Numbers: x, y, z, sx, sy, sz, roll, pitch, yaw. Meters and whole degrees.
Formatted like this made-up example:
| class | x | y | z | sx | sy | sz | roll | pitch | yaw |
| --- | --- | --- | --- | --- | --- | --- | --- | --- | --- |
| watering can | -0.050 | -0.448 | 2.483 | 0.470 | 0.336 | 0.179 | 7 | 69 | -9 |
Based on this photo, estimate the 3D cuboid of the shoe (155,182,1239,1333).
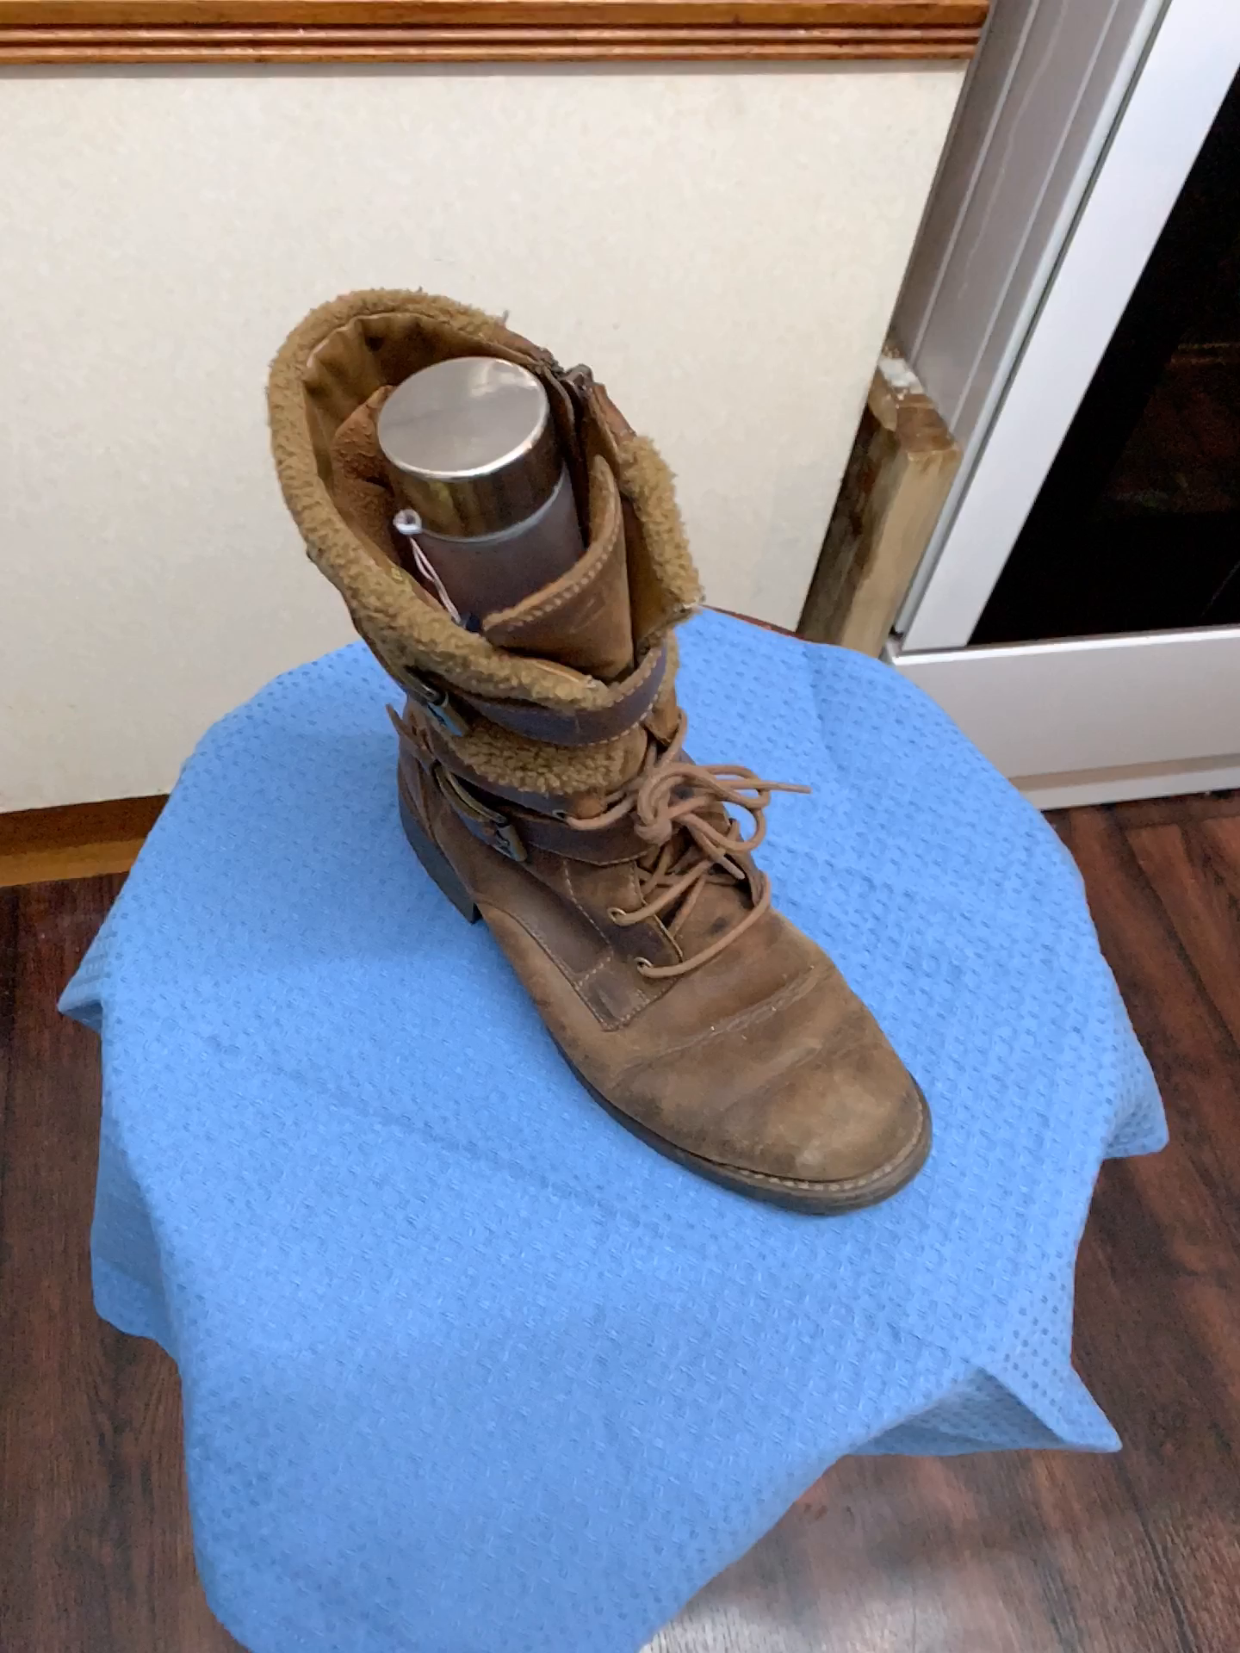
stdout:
| class | x | y | z | sx | sy | sz | roll | pitch | yaw |
| --- | --- | --- | --- | --- | --- | --- | --- | --- | --- |
| shoe | 0.010 | -0.007 | 0.387 | 0.120 | 0.228 | 0.251 | -36 | 66 | -18 |
